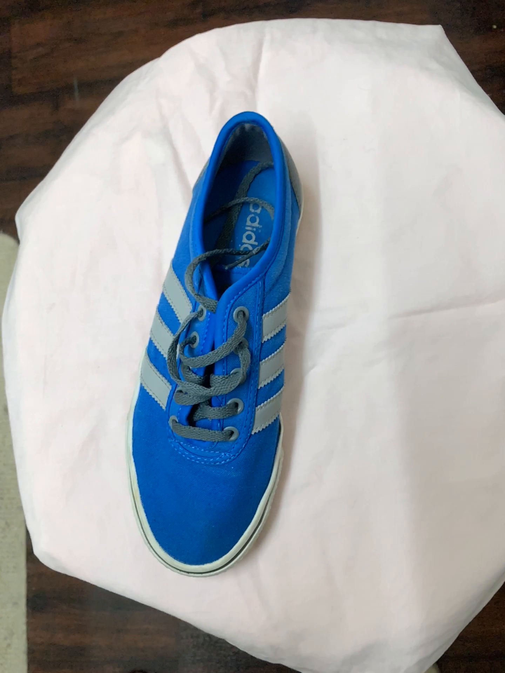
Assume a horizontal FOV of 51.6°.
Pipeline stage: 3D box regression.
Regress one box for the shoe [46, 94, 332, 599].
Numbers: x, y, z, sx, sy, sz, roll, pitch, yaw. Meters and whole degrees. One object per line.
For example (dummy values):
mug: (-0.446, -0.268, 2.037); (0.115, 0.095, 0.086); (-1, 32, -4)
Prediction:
shoe: (-0.024, 0.001, 0.298); (0.100, 0.090, 0.234); (9, 85, 9)
